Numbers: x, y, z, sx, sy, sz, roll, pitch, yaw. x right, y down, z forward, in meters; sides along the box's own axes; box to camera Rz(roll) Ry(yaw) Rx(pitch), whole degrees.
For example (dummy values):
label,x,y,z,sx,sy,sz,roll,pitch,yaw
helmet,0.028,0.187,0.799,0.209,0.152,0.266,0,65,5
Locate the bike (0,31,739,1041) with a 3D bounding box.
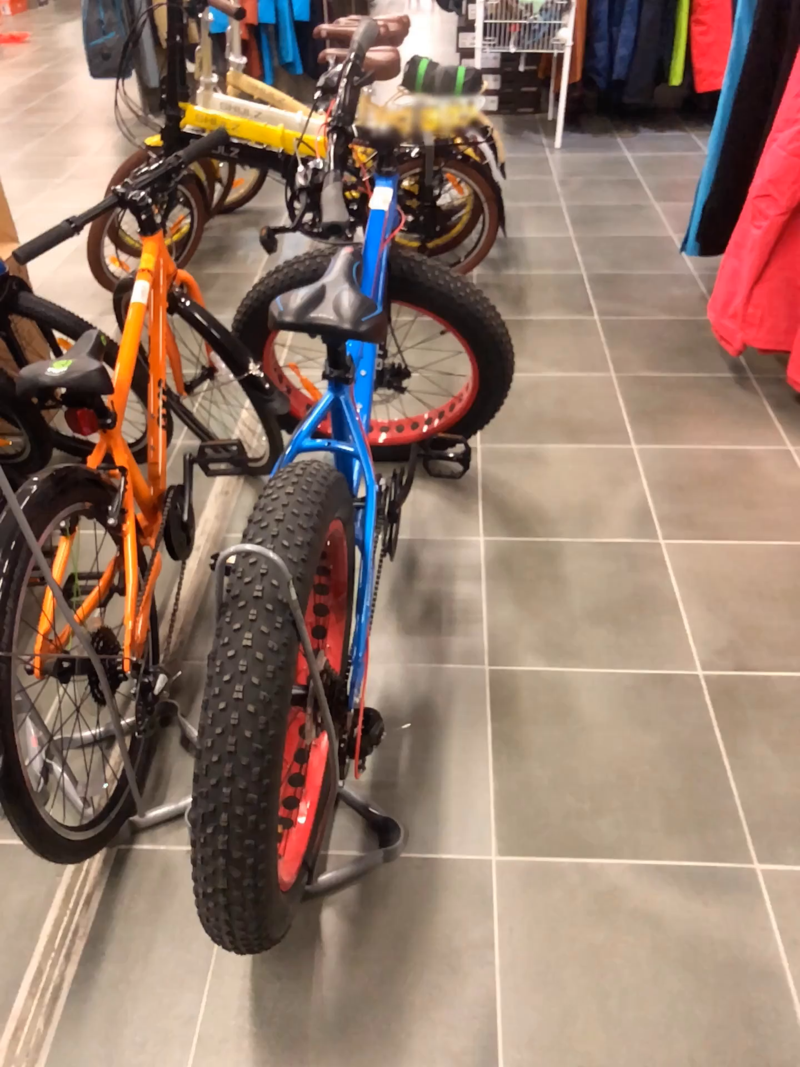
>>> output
label,x,y,z,sx,sy,sz,roll,pitch,yaw
bike,-0.039,-0.165,1.486,0.614,1.023,1.475,0,36,2
